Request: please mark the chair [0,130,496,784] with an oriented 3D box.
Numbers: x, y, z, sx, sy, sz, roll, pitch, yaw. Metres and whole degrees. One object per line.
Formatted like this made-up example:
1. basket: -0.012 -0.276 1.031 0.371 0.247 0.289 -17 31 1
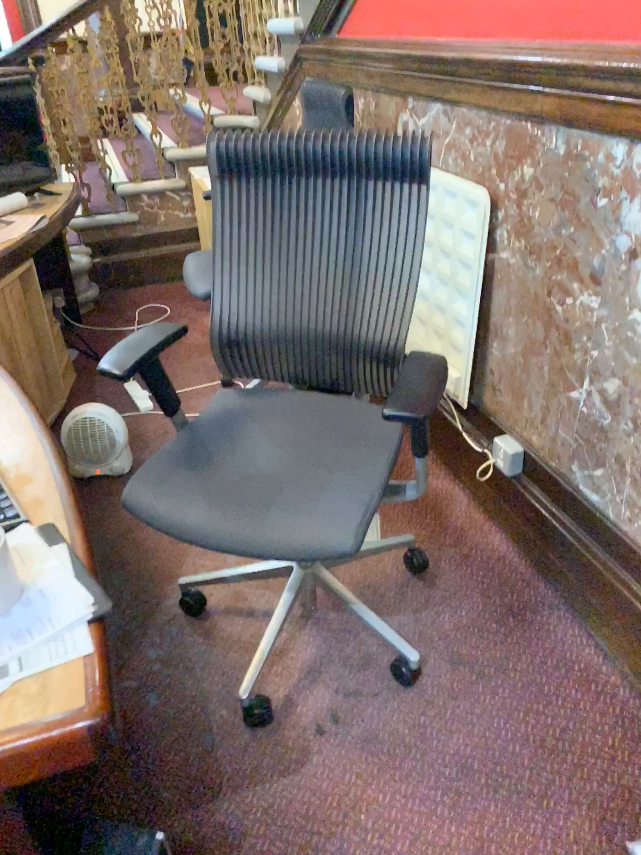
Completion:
1. chair: -0.084 0.014 1.428 0.721 1.129 0.696 9 33 19
